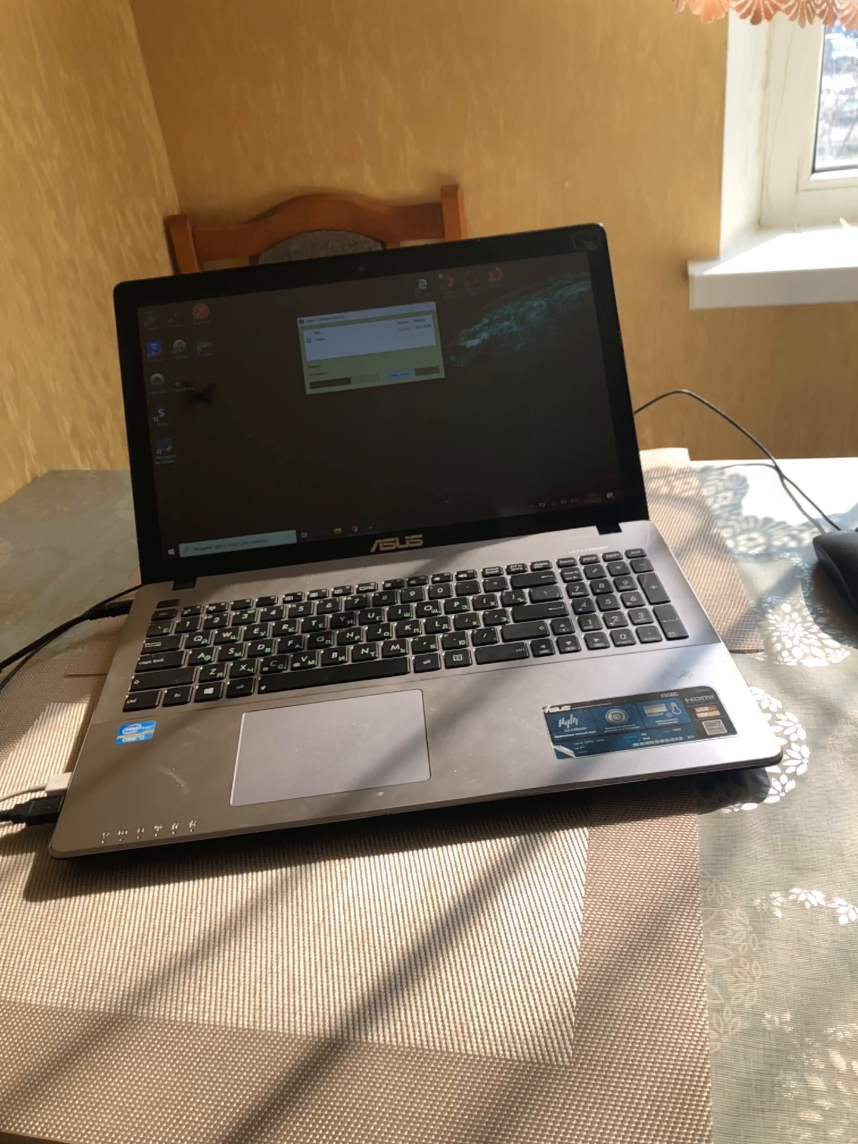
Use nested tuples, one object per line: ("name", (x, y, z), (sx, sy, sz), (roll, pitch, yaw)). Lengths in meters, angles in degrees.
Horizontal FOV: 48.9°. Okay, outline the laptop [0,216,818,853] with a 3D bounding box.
("laptop", (-0.029, -0.066, 0.606), (0.378, 0.183, 0.399), (-7, 32, 0))
